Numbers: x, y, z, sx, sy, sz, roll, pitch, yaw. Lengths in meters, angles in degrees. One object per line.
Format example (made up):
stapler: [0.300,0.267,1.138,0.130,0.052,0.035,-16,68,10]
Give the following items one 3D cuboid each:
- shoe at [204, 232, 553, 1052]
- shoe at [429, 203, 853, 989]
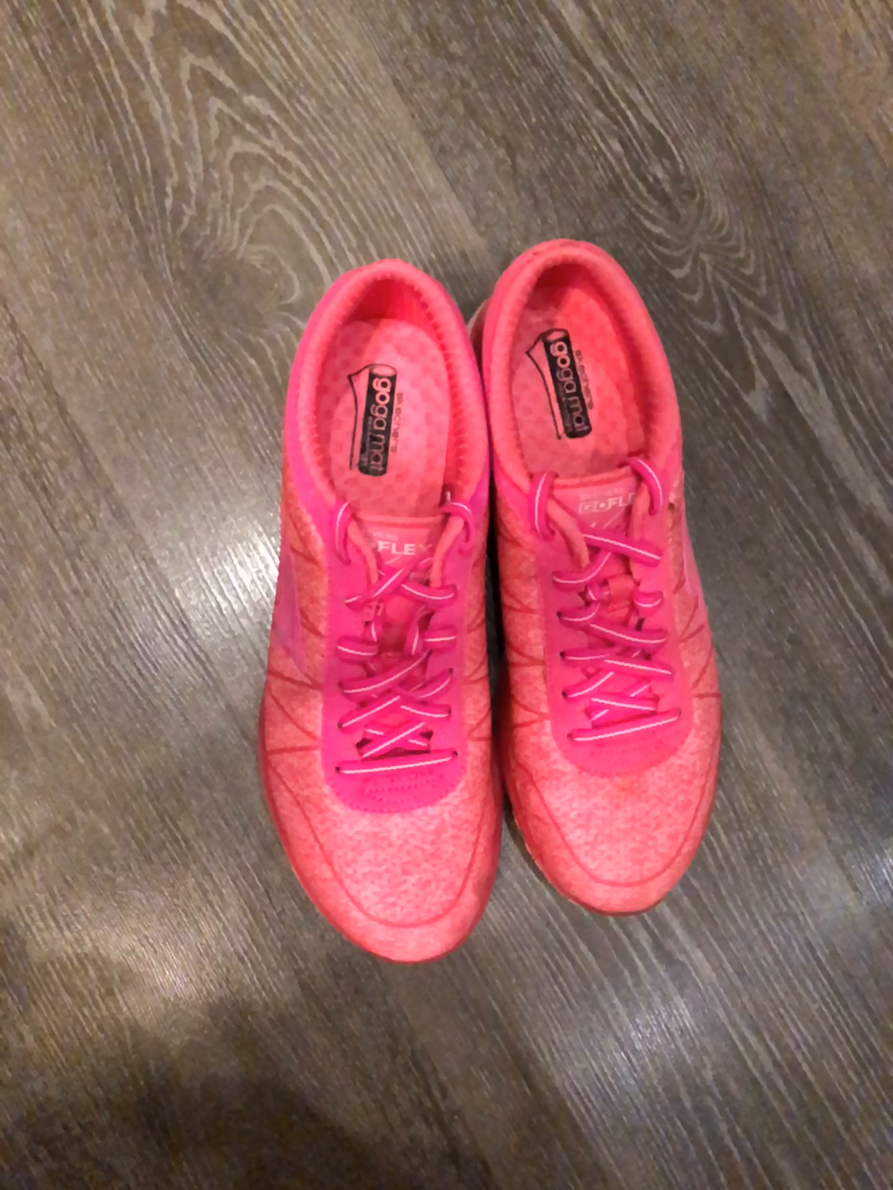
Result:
shoe: [-0.028,0.012,0.363,0.100,0.090,0.260,-3,85,-6]
shoe: [0.065,-0.002,0.384,0.100,0.090,0.260,-8,85,-7]
